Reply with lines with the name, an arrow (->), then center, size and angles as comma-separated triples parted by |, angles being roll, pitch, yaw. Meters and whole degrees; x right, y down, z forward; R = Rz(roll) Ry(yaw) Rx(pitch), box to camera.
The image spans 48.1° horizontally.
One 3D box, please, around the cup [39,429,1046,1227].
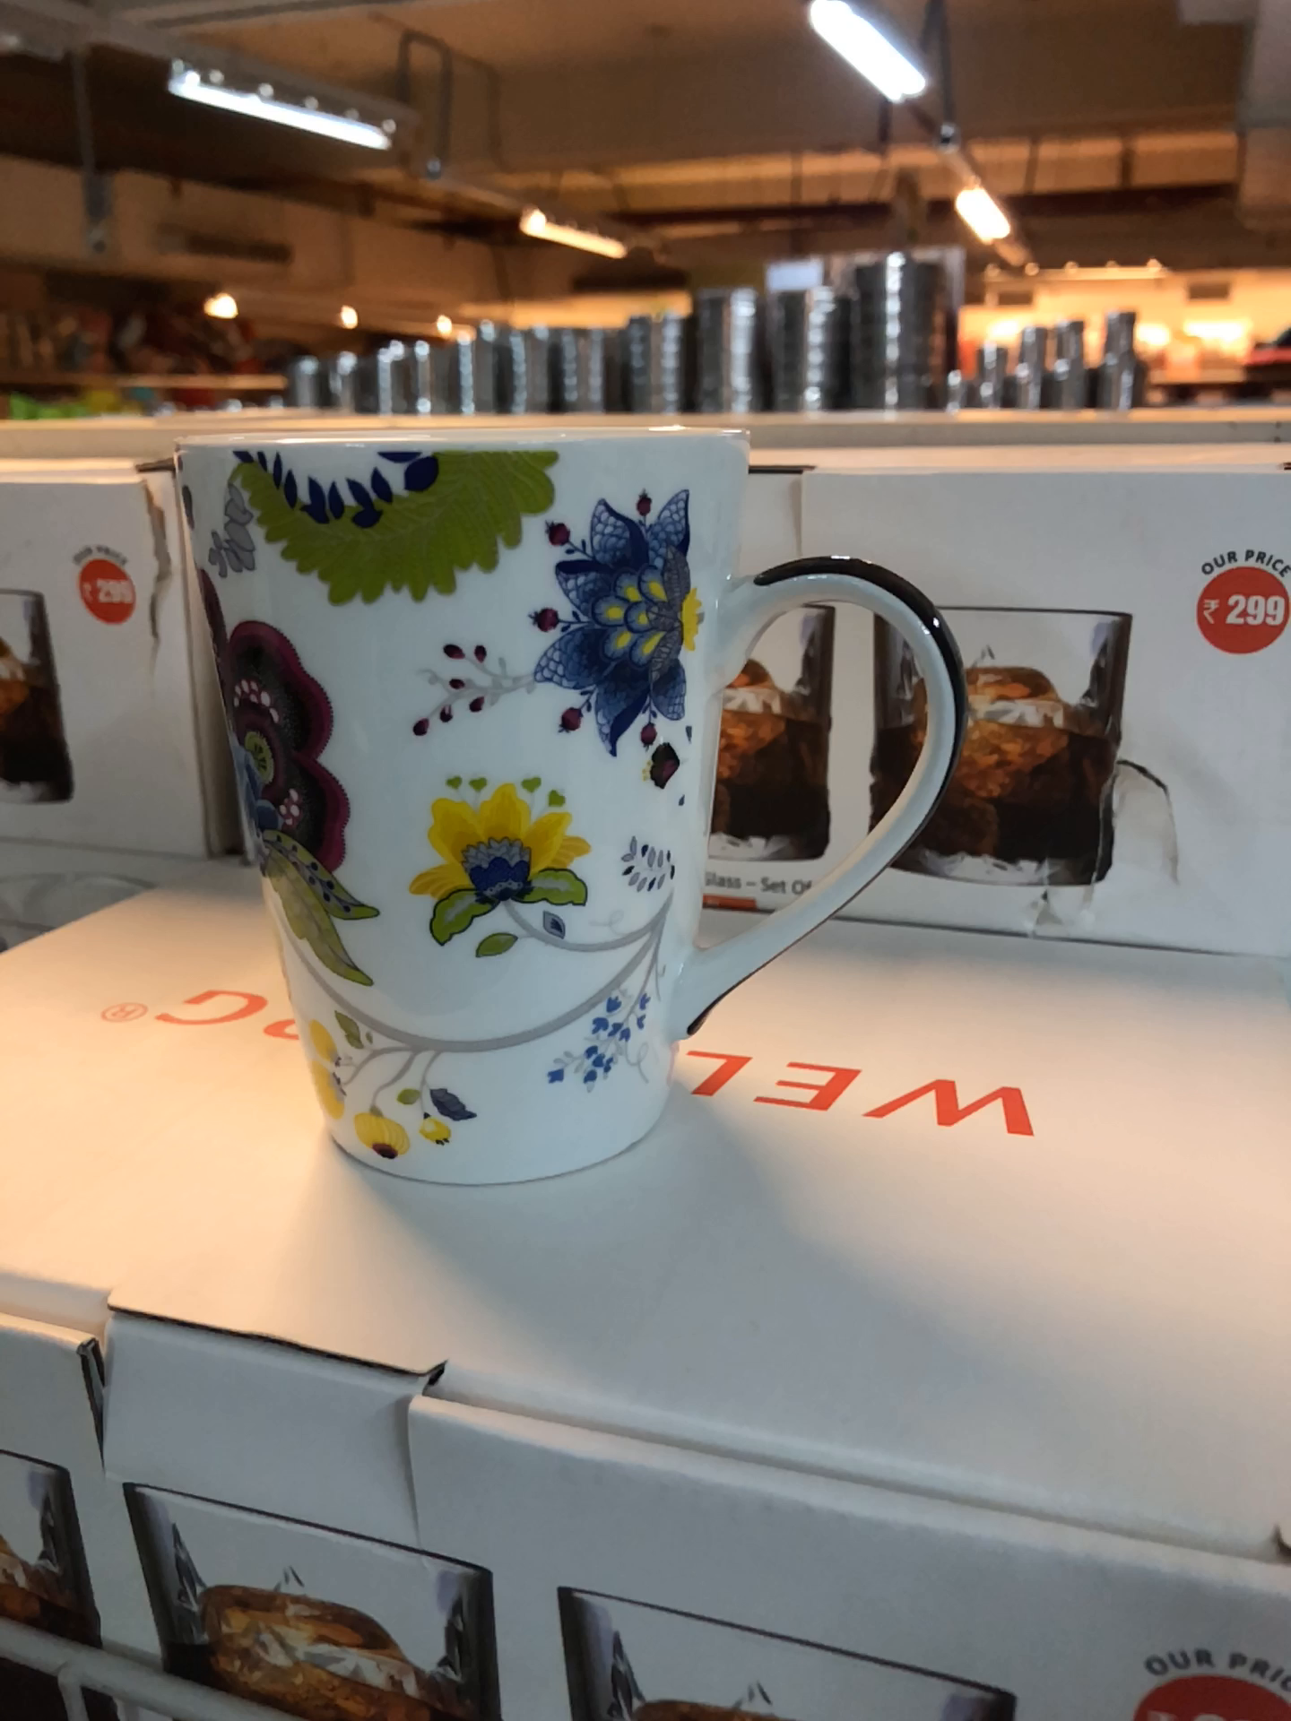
cup -> -0.009, -0.014, 0.221 | 0.120, 0.100, 0.080 | 2, 17, 8
